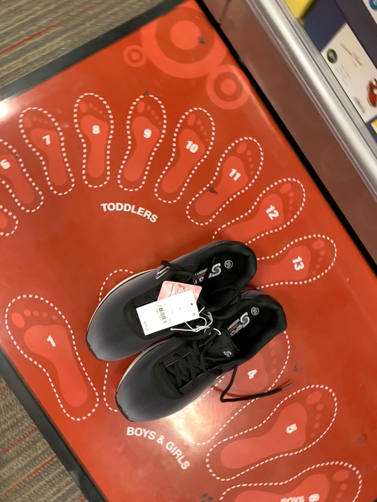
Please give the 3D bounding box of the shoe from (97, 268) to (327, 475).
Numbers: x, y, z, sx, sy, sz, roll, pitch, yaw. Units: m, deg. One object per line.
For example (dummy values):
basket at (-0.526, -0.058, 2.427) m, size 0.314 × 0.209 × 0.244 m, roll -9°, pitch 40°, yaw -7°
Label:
shoe at (0.026, 0.137, 0.495) m, size 0.260 × 0.100 × 0.100 m, roll -34°, pitch 91°, yaw -10°

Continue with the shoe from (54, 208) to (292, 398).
shoe at (-0.019, 0.059, 0.495) m, size 0.260 × 0.100 × 0.100 m, roll -29°, pitch 91°, yaw -10°
